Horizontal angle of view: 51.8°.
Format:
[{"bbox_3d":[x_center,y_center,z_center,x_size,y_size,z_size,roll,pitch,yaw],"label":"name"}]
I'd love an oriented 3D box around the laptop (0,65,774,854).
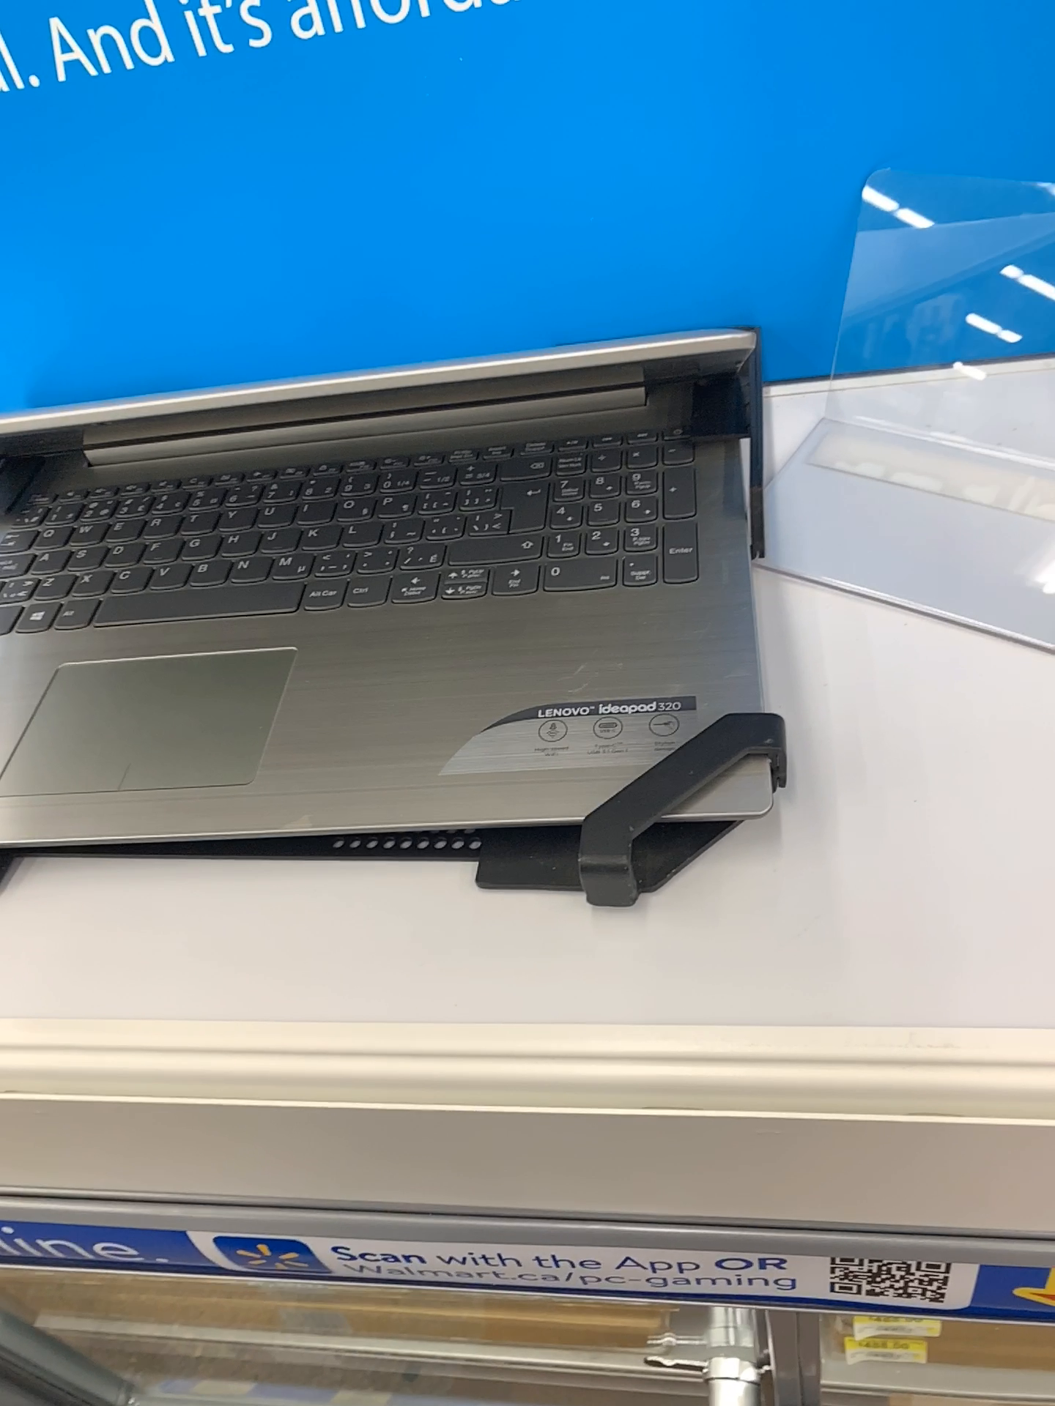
[{"bbox_3d":[-0.093,-0.085,0.364,0.326,0.115,0.230,-4,46,11],"label":"laptop"}]
